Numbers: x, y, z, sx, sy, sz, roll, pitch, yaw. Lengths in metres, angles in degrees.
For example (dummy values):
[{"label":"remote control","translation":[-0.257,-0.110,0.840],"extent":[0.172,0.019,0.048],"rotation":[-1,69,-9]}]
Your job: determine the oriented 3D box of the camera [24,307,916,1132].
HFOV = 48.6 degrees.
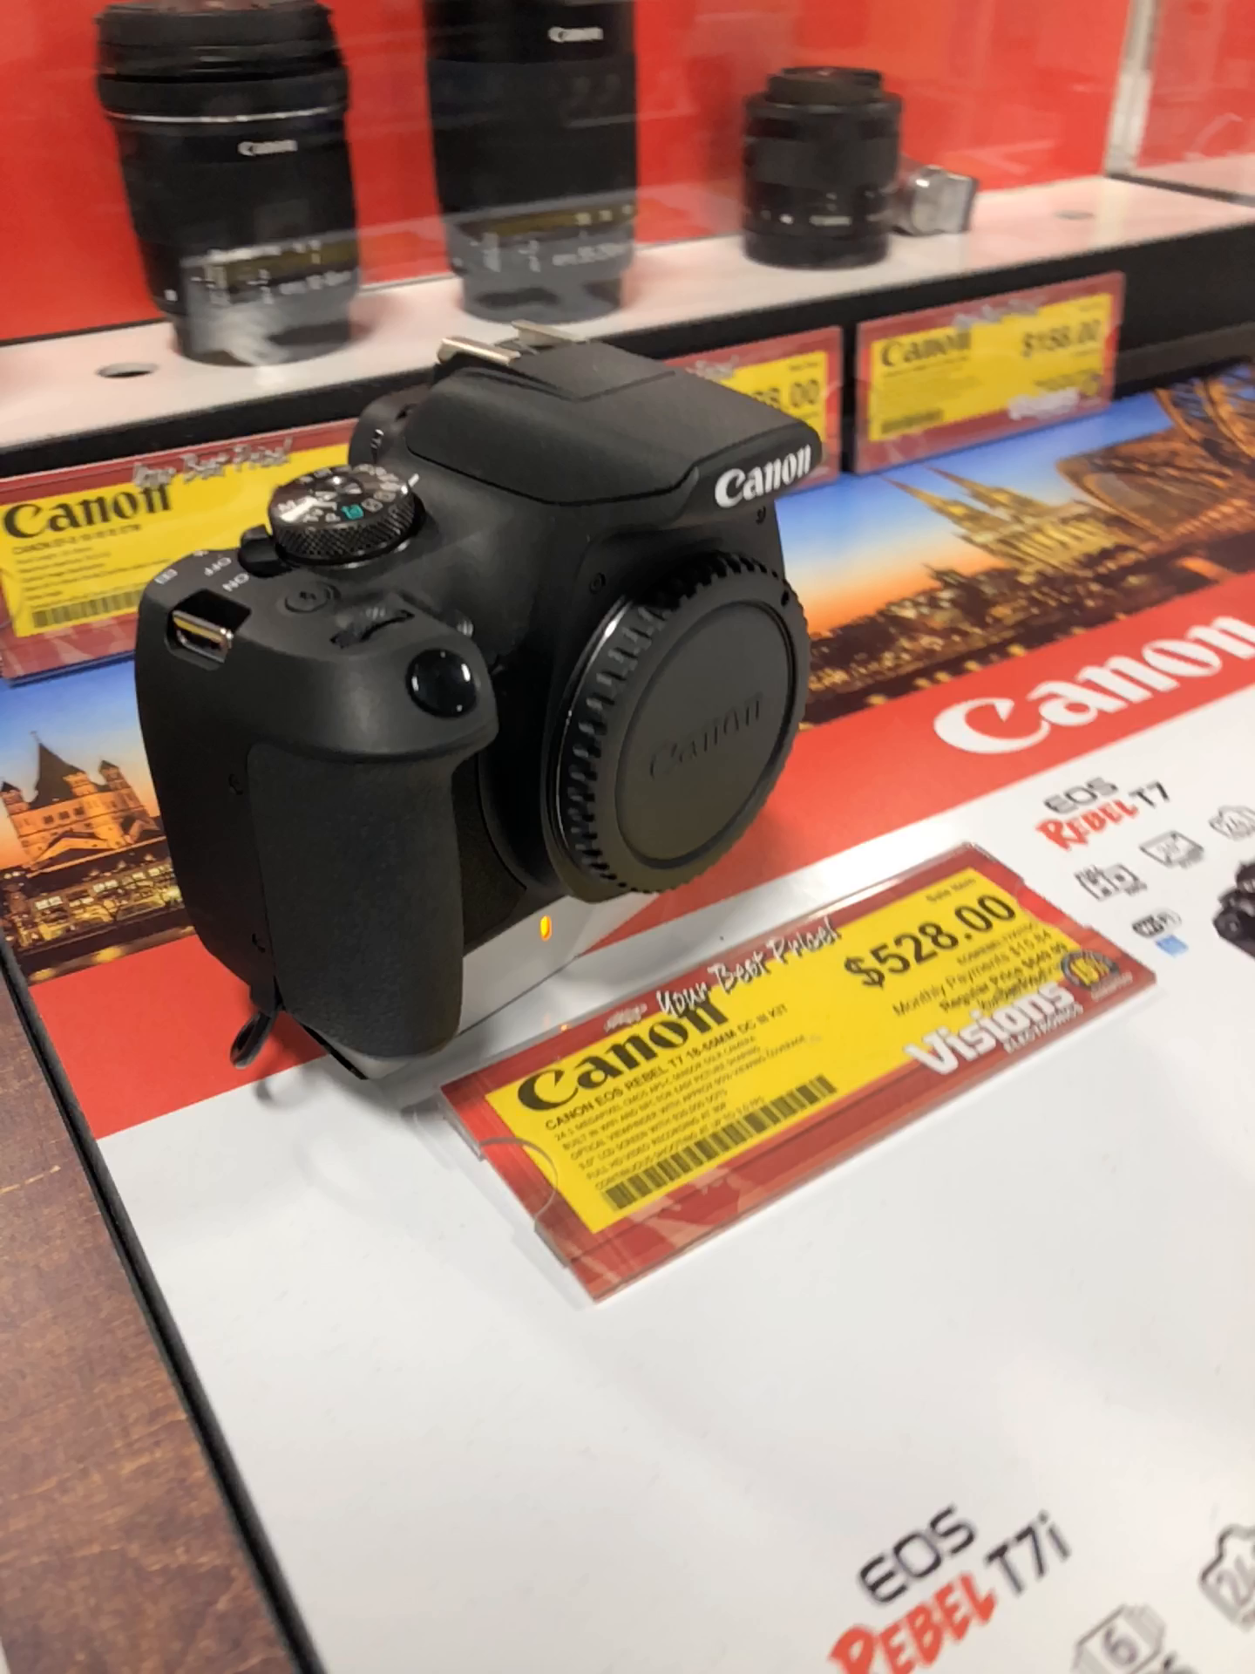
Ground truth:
[{"label":"camera","translation":[-0.020,-0.033,0.257],"extent":[0.080,0.089,0.130],"rotation":[25,41,33]}]
